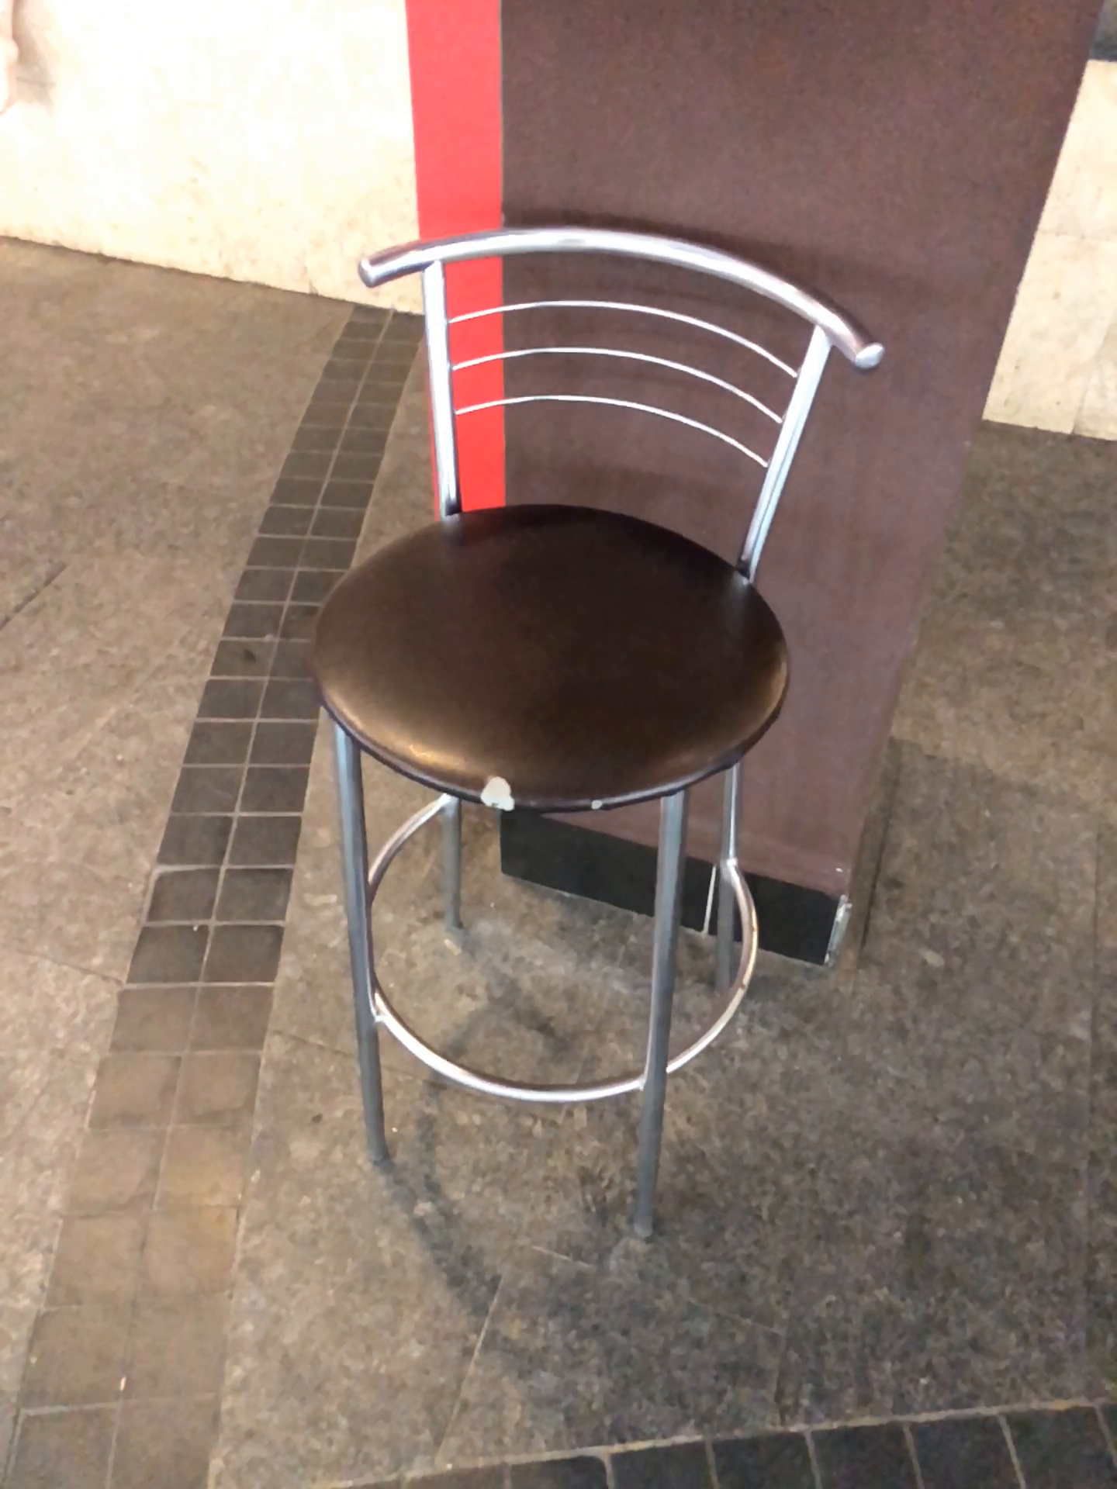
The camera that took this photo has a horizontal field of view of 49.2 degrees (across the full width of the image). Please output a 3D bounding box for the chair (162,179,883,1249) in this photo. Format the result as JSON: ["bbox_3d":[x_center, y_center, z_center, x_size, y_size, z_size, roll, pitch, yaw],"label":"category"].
[{"bbox_3d":[-0.005,0.034,1.183,0.410,0.936,0.412,11,45,9],"label":"chair"}]
